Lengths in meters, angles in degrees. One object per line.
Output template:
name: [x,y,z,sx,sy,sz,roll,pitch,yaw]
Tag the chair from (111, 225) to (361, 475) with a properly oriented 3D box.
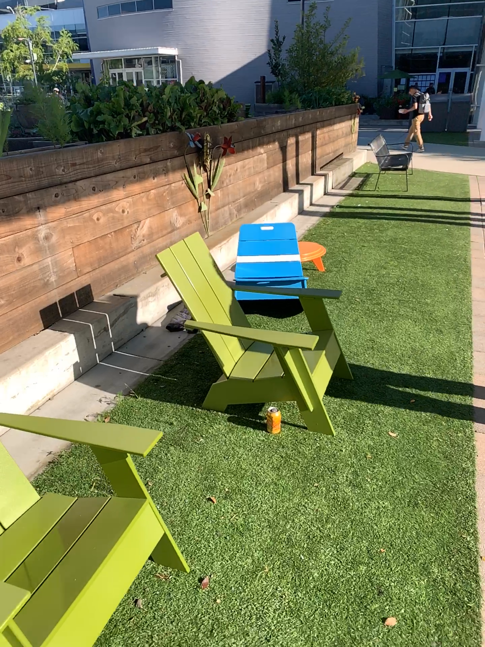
chair: [0.019,0.055,2.645,1.001,0.895,0.854,9,27,21]
